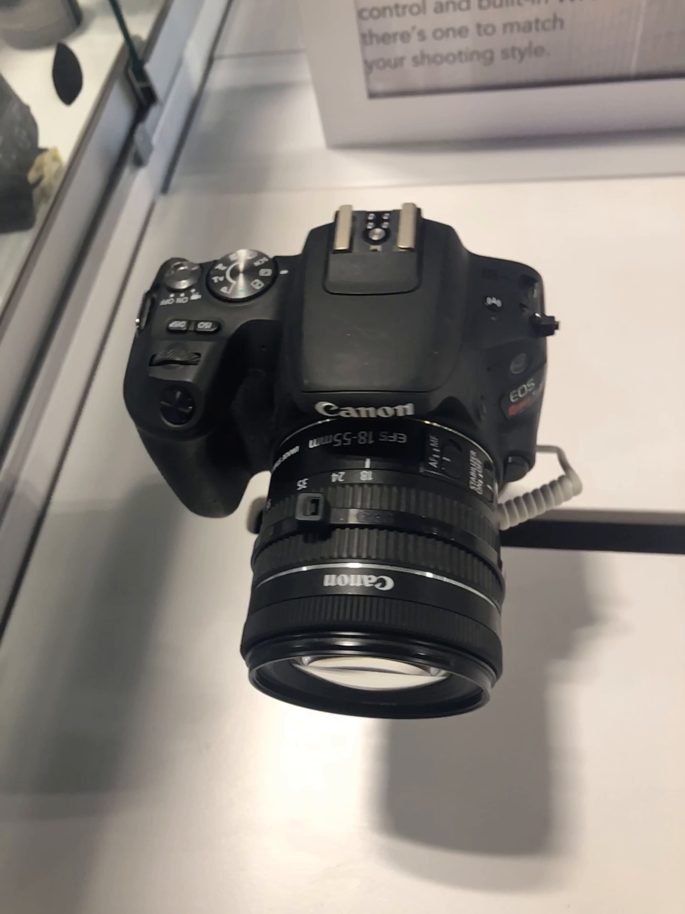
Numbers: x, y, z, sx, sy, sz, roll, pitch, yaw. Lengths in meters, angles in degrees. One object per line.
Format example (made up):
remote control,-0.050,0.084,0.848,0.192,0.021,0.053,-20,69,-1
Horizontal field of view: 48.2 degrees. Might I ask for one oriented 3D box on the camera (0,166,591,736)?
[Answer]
camera,-0.005,0.003,0.209,0.122,0.100,0.110,0,58,11
